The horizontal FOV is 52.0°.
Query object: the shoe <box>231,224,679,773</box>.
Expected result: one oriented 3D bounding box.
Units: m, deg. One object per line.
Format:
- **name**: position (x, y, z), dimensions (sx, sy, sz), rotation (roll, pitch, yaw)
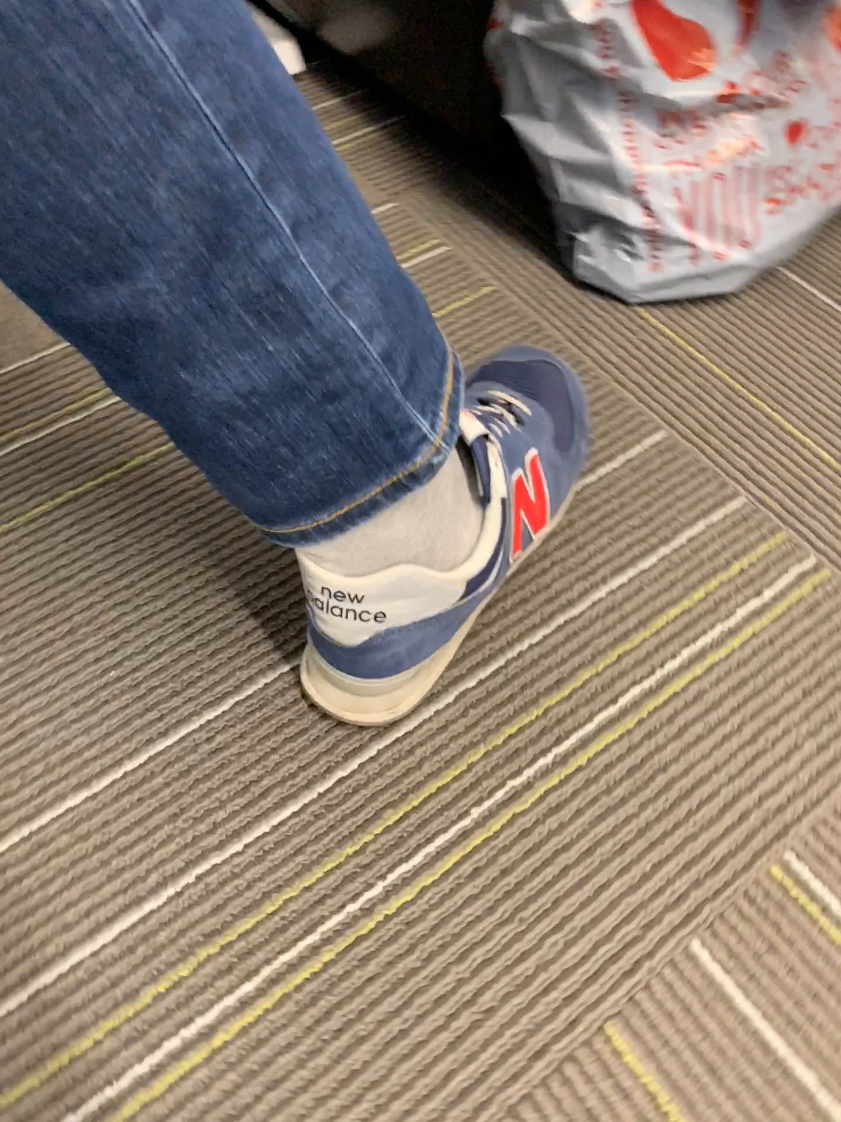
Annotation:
- **shoe**: position (0.033, -0.048, 0.530), dimensions (0.108, 0.139, 0.308), rotation (27, 60, 16)
